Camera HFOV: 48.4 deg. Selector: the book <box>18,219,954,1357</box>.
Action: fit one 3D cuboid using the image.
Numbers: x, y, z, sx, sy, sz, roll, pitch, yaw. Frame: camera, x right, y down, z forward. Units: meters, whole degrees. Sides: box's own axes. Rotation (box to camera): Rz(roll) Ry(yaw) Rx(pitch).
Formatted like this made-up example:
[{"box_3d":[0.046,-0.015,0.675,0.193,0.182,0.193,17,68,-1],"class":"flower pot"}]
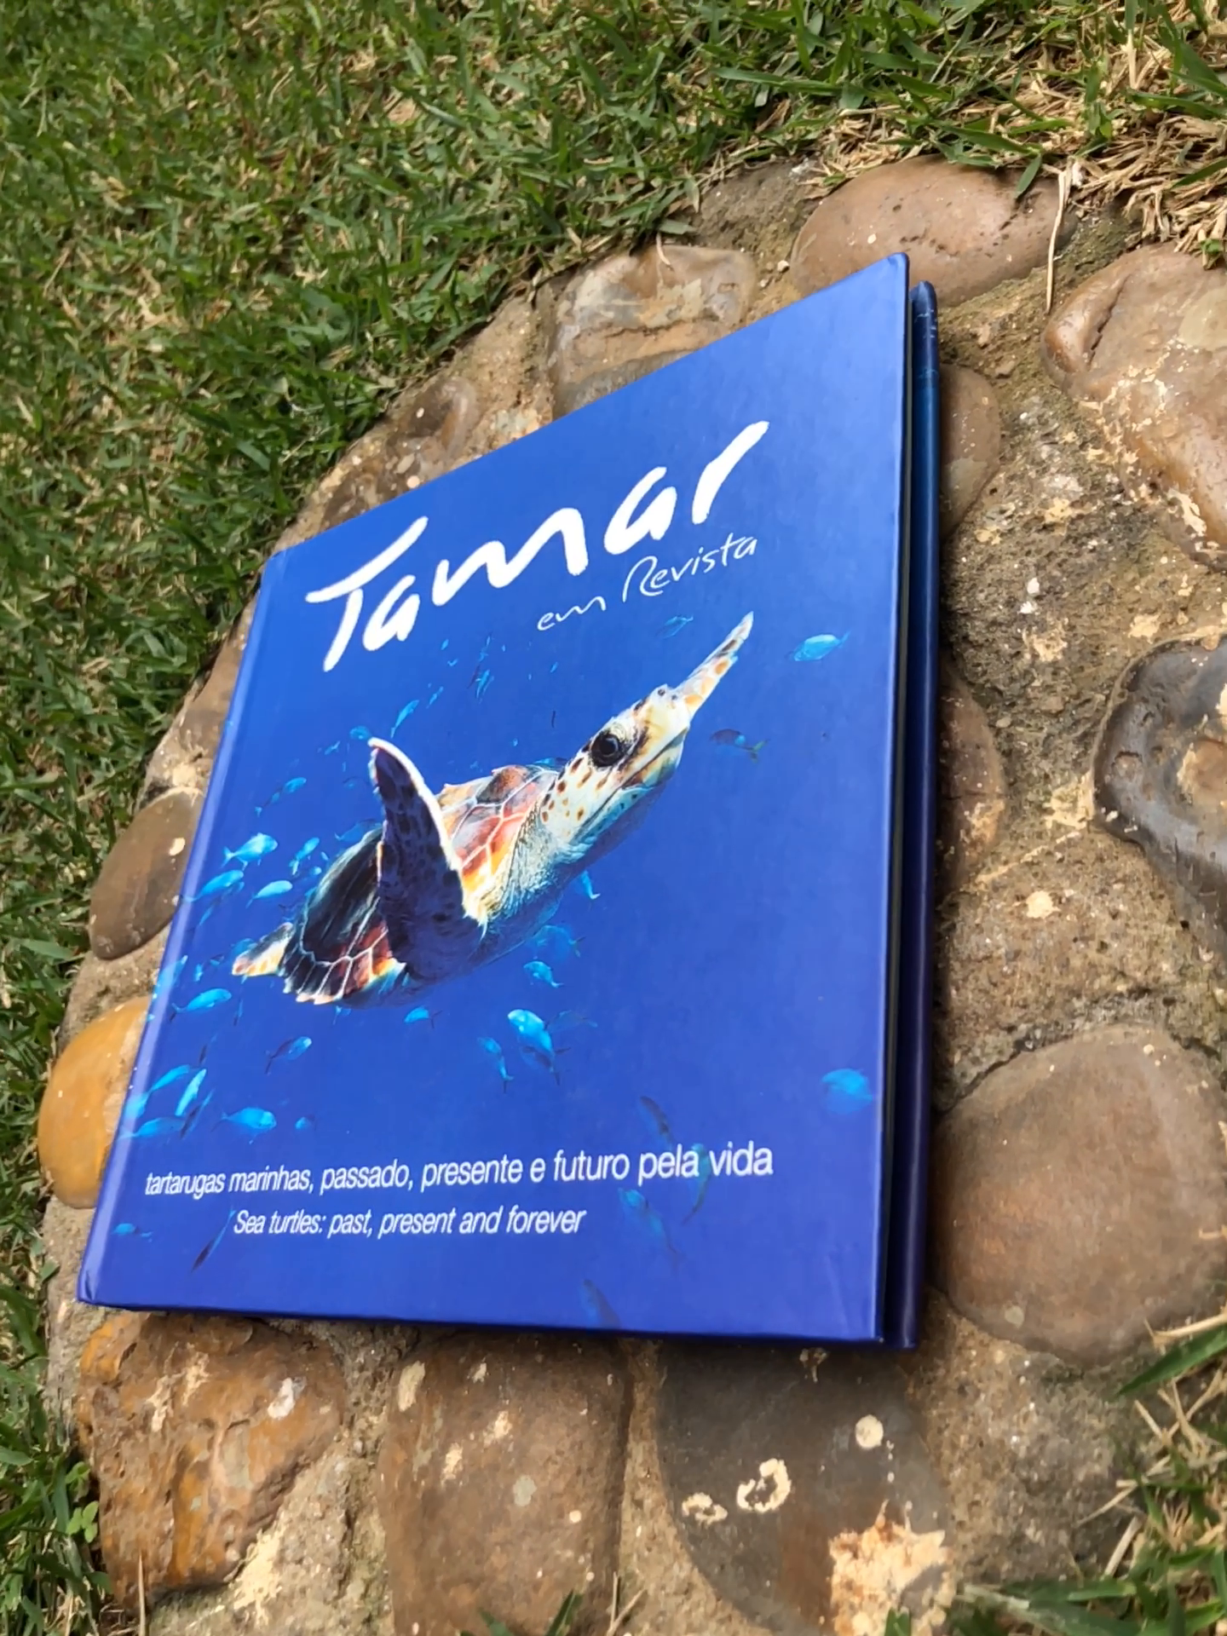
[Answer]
[{"box_3d":[-0.028,0.000,0.244,0.179,0.020,0.167,-13,58,38],"class":"book"}]
